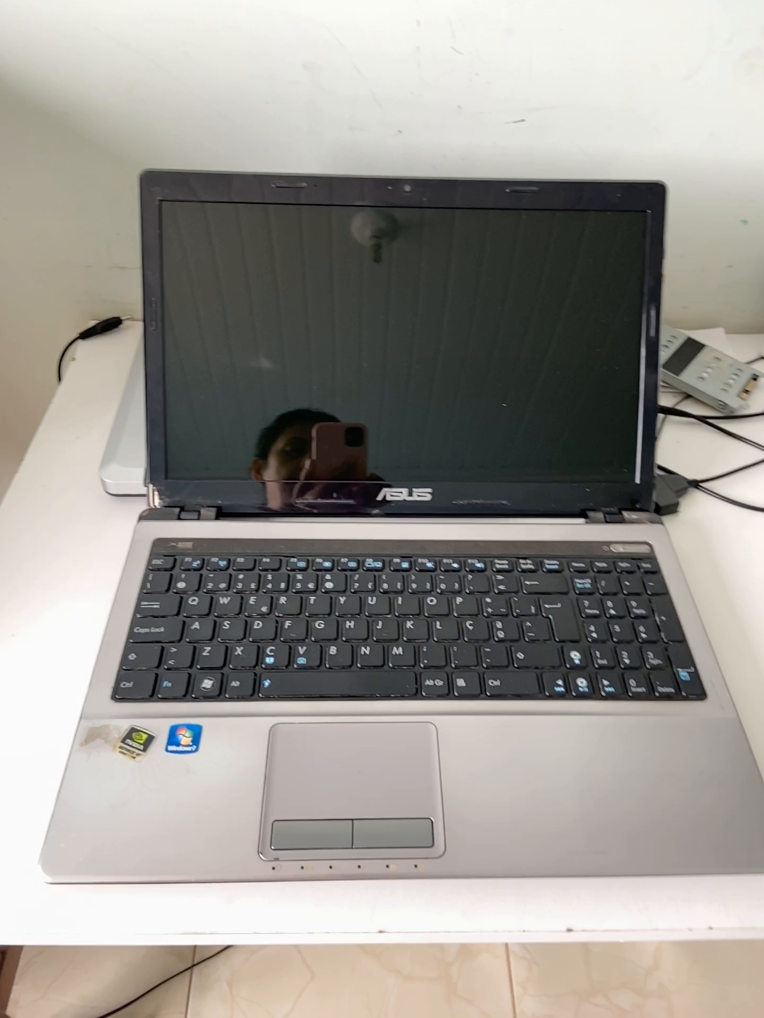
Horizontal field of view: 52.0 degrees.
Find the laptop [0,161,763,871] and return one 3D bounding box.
[{"bbox_3d":[0.016,-0.032,0.476,0.376,0.179,0.417,0,45,-1],"label":"laptop"}]
